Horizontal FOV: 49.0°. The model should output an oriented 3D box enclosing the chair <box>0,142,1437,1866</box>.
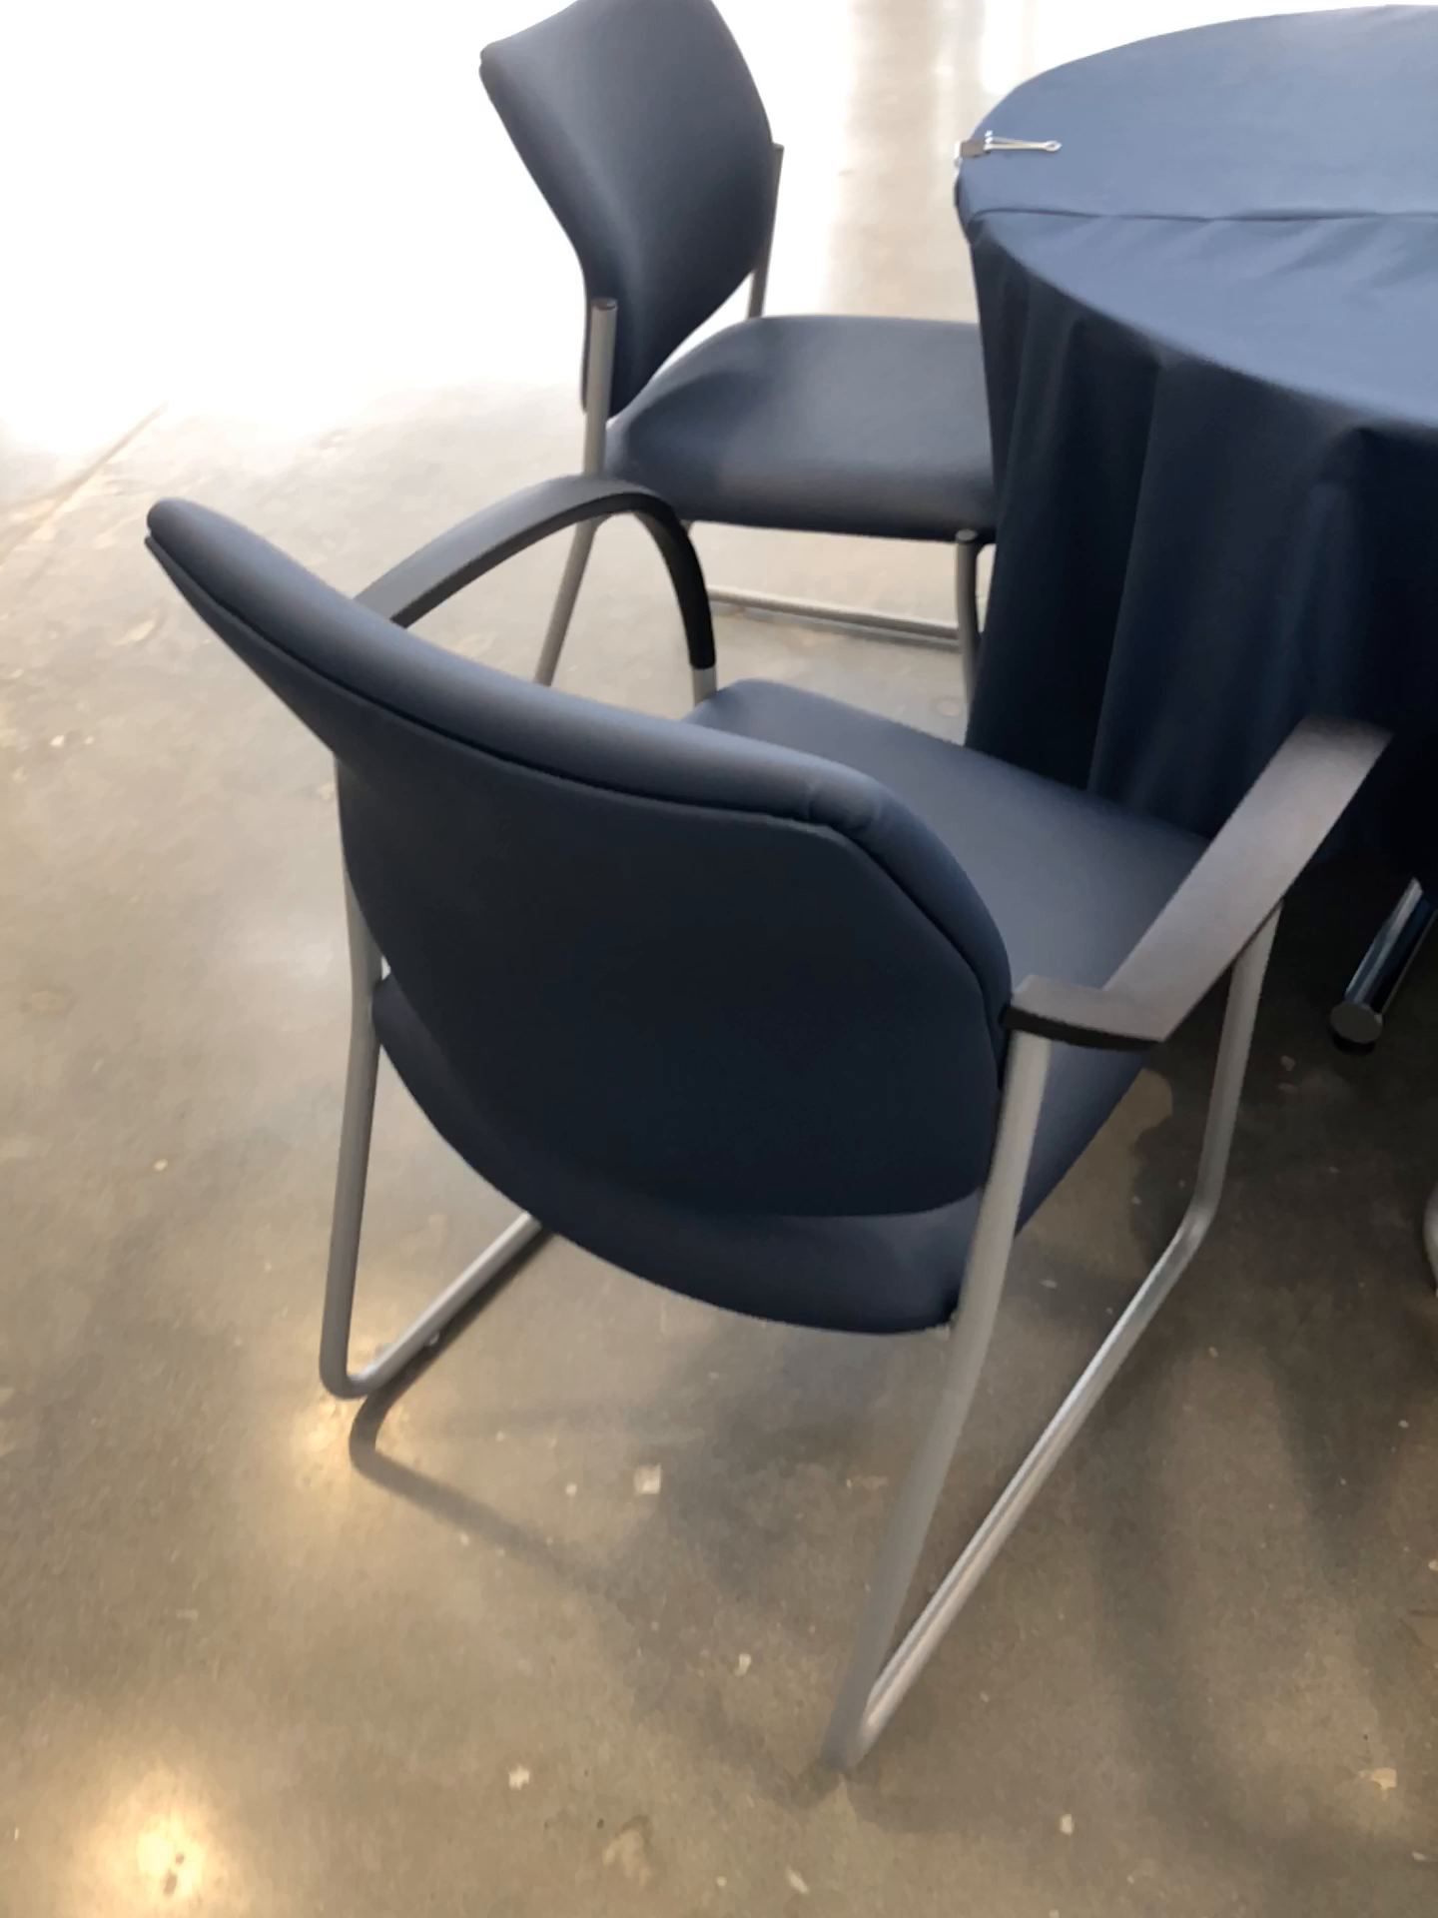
[{"bbox_3d":[0.043,-0.014,1.090,0.642,0.765,0.672,25,50,27],"label":"chair"}]
